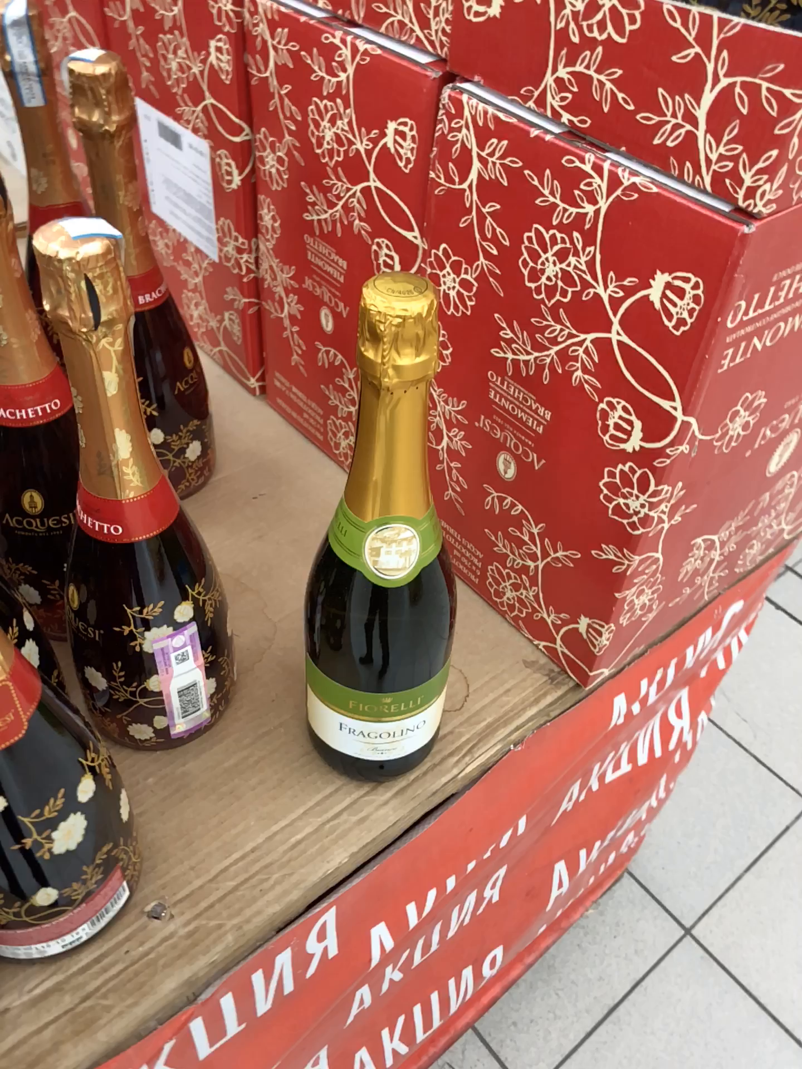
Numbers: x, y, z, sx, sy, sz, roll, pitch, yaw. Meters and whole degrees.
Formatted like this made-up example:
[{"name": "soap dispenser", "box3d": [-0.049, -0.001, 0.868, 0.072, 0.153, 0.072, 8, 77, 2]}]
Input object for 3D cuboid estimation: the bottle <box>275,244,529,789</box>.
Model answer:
[{"name": "bottle", "box3d": [-0.012, 0.010, 0.448, 0.090, 0.288, 0.090, 2, 44, -2]}]
